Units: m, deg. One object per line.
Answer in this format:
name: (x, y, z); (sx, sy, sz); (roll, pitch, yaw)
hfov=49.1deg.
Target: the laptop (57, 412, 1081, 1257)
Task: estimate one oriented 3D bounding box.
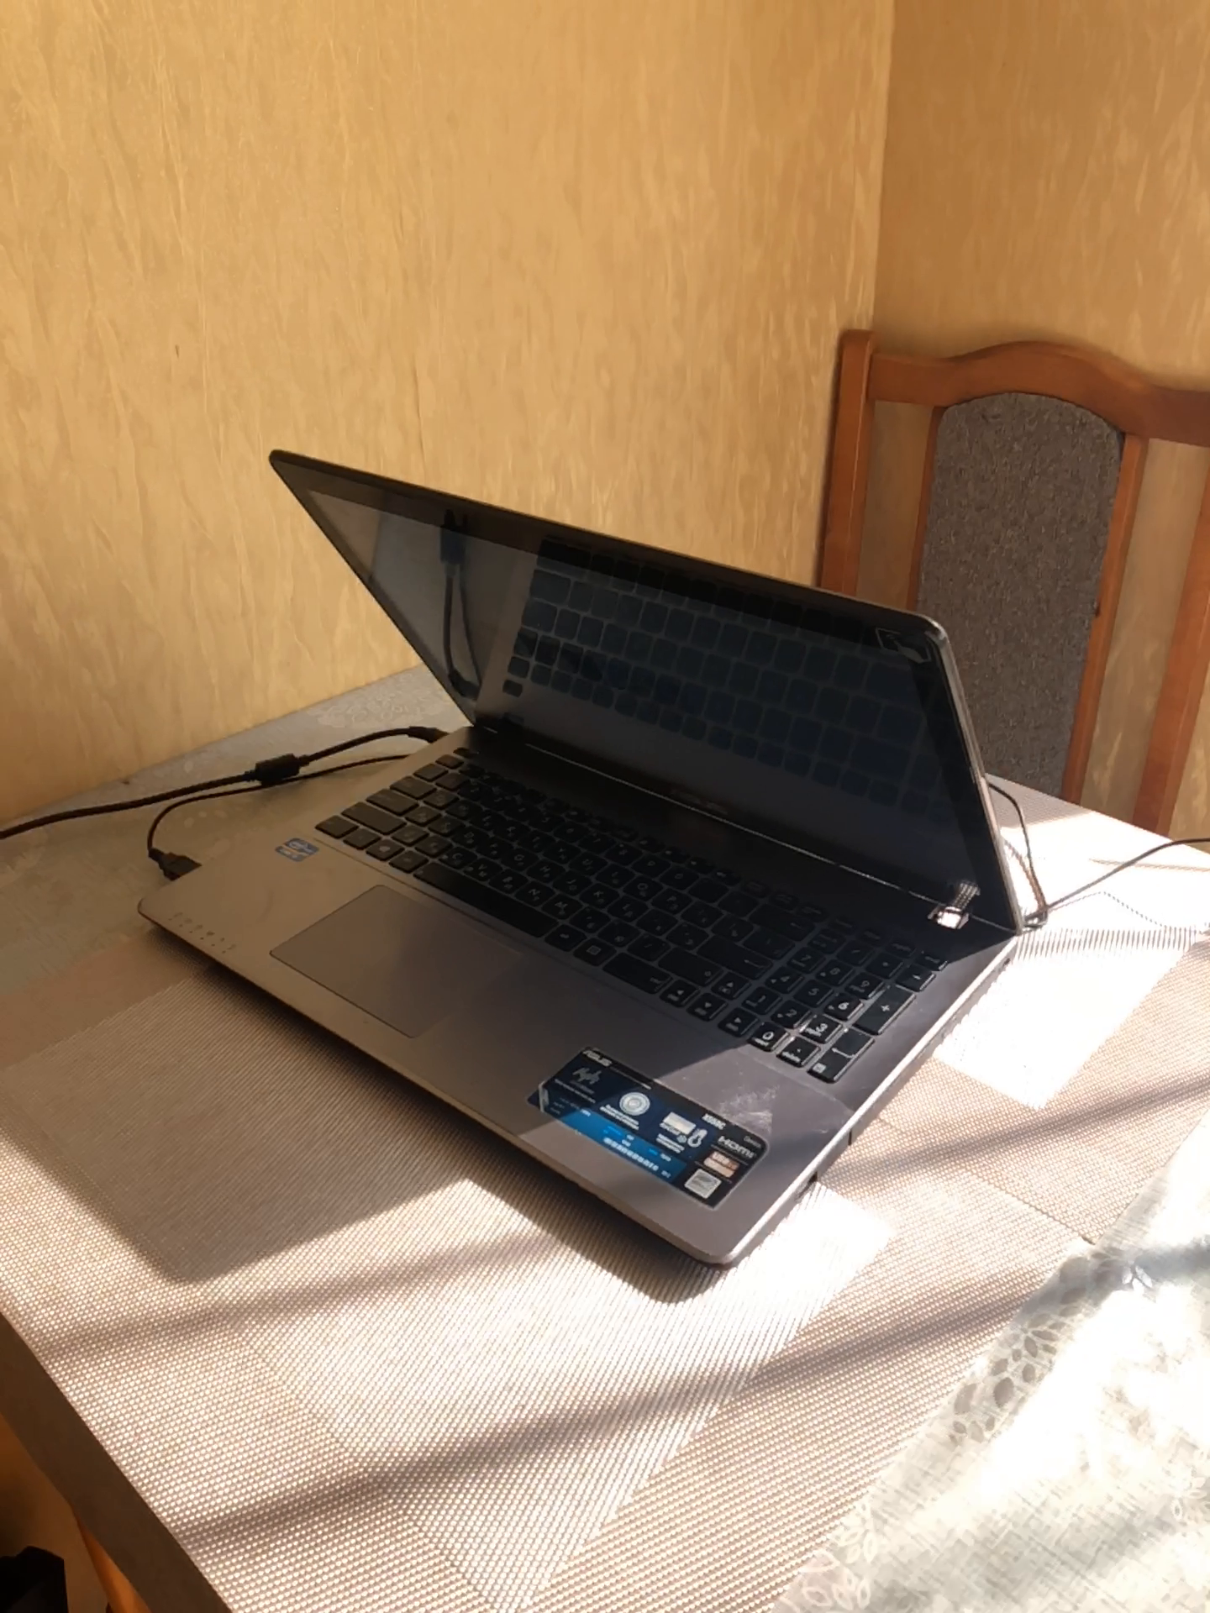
laptop: (-0.023, -0.028, 0.612); (0.364, 0.197, 0.241); (21, 38, 34)
